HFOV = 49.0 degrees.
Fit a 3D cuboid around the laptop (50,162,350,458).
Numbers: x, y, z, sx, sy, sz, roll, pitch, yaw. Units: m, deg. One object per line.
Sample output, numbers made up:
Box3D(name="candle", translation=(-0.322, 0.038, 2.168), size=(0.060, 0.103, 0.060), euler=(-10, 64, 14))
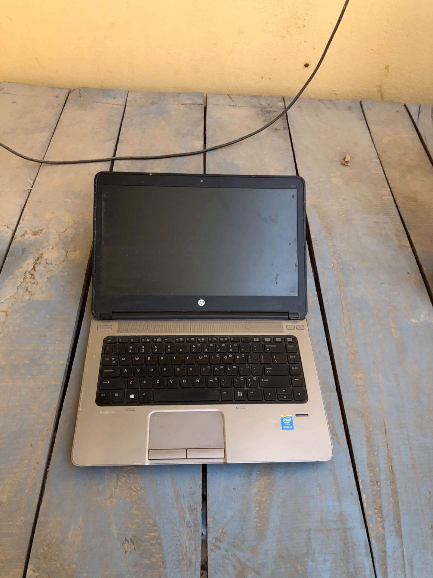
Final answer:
Box3D(name="laptop", translation=(-0.026, 0.006, 0.648), size=(0.306, 0.123, 0.390), euler=(-1, 53, -3))
